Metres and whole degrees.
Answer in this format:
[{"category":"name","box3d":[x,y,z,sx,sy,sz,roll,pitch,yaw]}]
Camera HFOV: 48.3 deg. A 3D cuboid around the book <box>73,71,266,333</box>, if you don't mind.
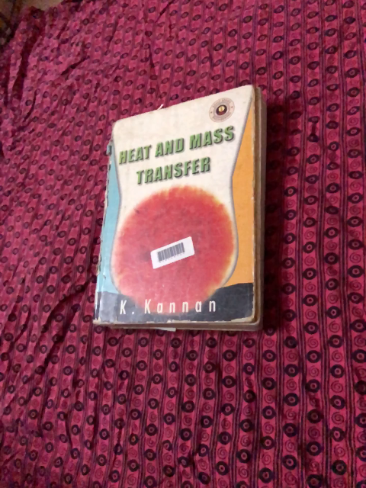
[{"category":"book","box3d":[-0.012,-0.039,0.423,0.185,0.039,0.250,-5,70,28]}]
